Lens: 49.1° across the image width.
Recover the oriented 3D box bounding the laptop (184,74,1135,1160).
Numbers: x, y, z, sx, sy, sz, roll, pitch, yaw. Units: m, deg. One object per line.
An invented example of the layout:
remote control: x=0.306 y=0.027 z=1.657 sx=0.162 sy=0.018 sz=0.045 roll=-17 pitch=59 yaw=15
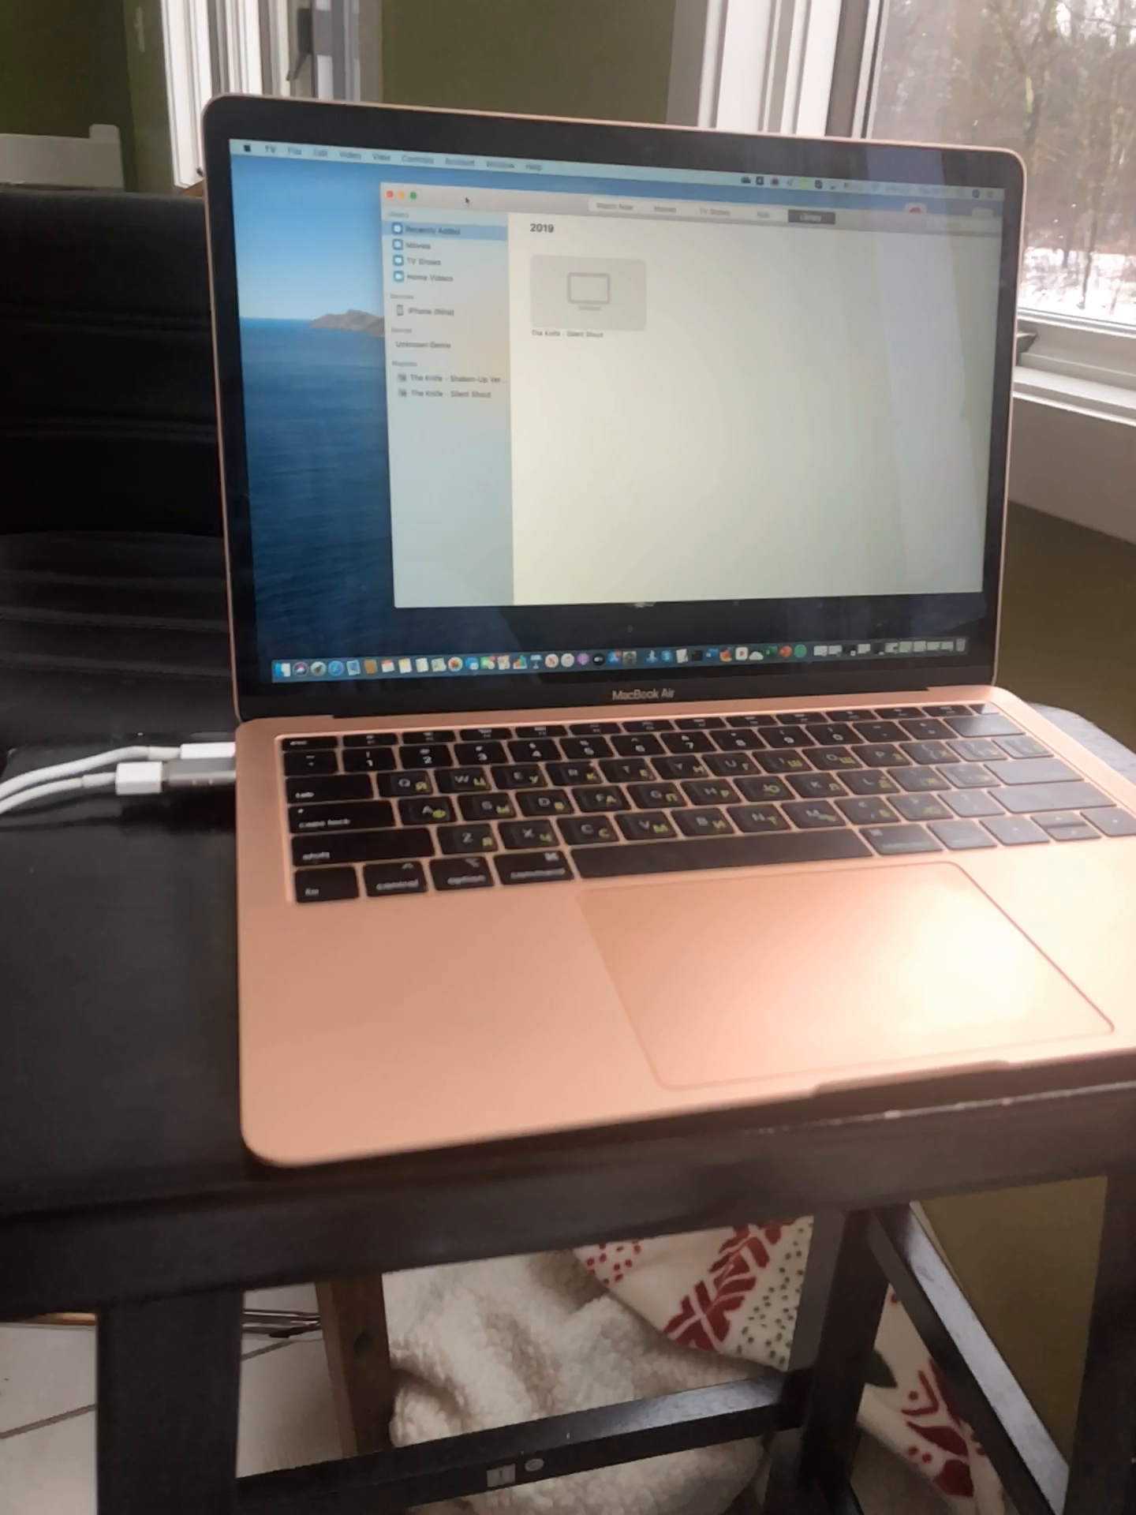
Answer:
laptop: x=0.054 y=-0.075 z=0.366 sx=0.298 sy=0.196 sz=0.265 roll=-3 pitch=27 yaw=-14
